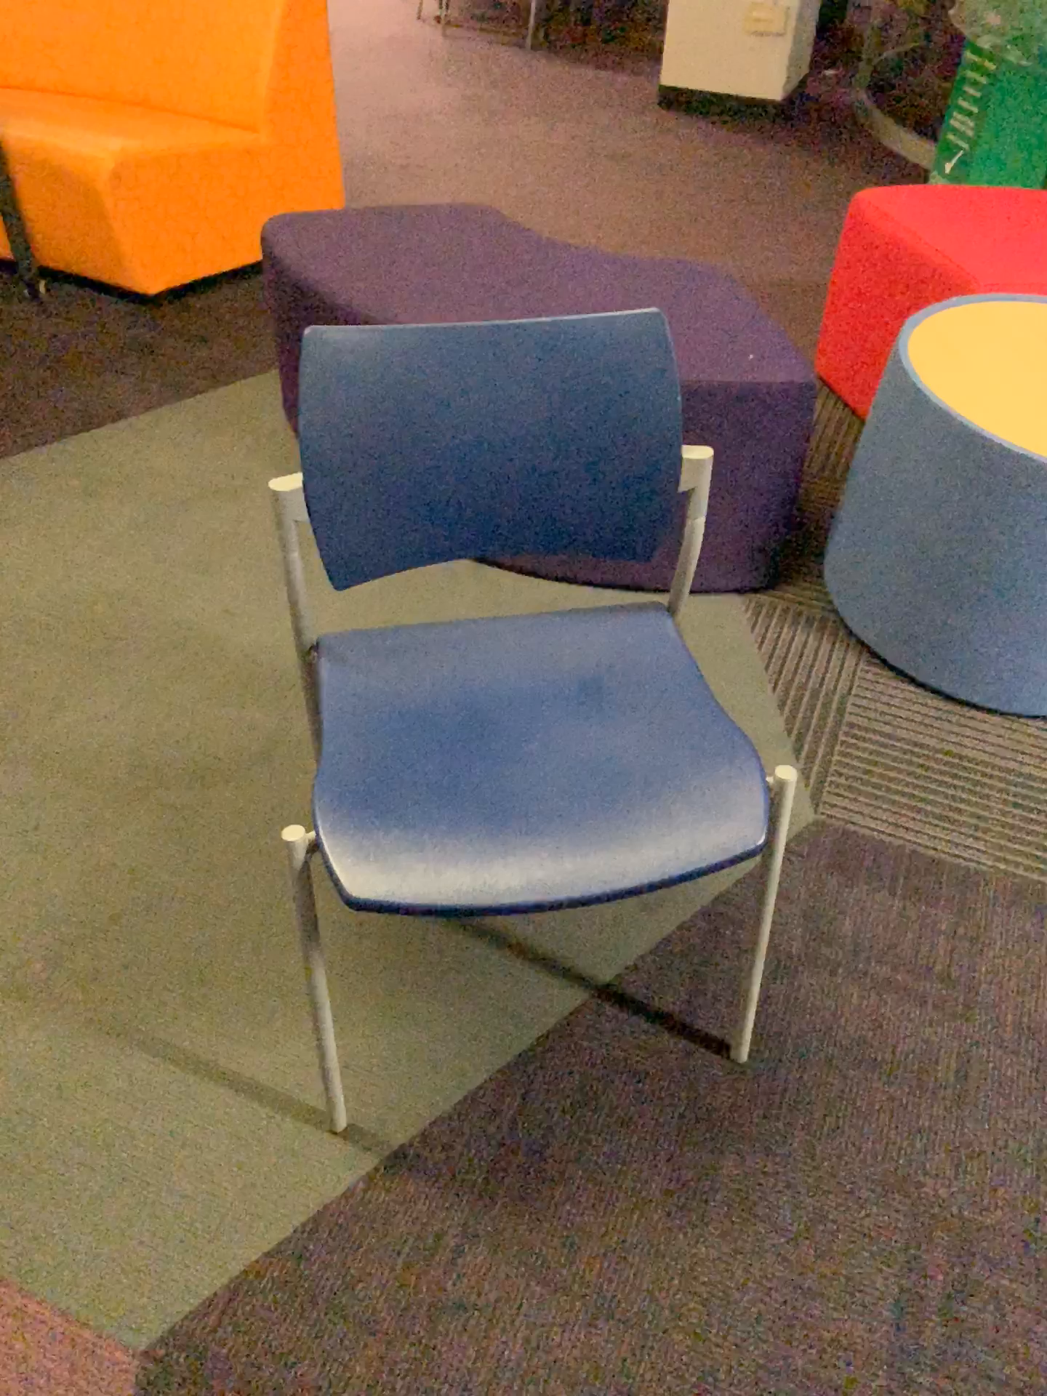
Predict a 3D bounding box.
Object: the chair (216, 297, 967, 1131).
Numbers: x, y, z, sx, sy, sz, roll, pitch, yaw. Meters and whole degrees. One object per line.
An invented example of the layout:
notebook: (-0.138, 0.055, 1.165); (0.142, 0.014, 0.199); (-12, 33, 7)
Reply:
chair: (0.007, 0.015, 1.221); (0.560, 0.693, 0.575); (-6, 44, -8)
